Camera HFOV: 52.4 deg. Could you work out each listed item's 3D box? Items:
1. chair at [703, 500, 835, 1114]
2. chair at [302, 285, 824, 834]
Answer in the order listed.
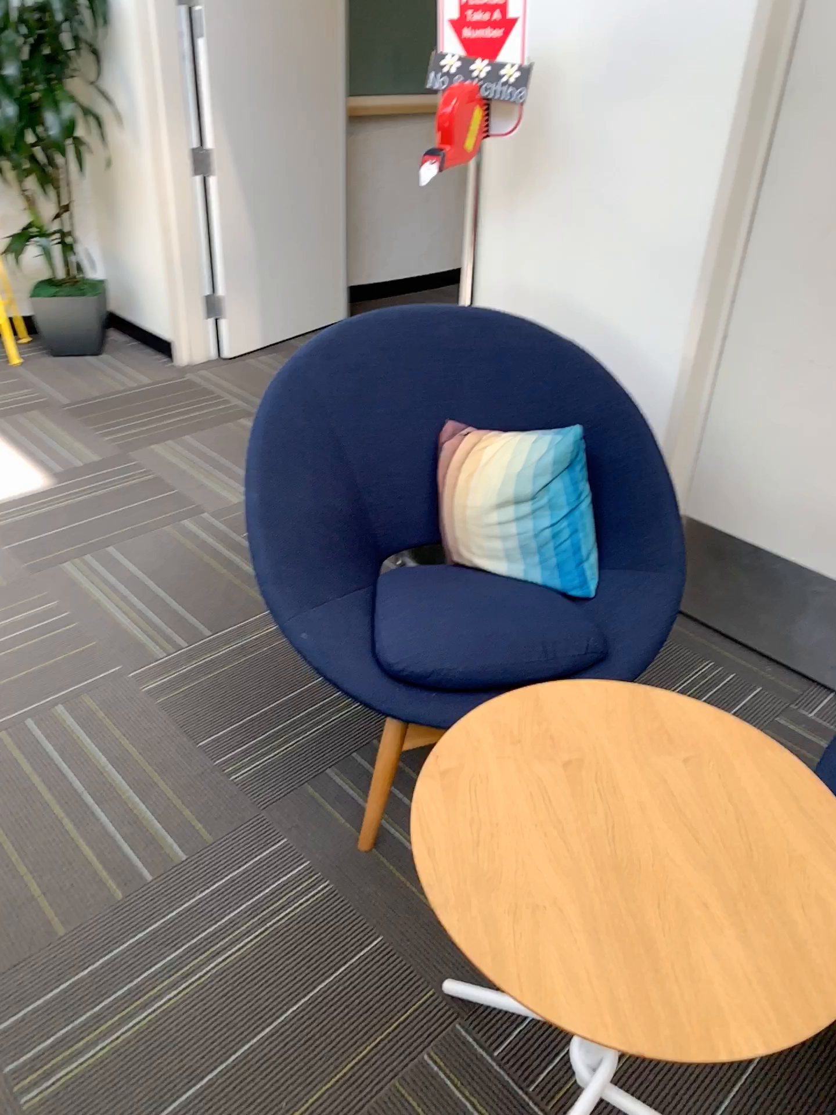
[{"bbox_3d":[1.104,0.548,1.150,0.980,0.944,0.835,1,32,-3],"label":"chair"},{"bbox_3d":[0.172,-0.044,1.835,0.790,0.835,0.845,-1,32,-6],"label":"chair"}]
